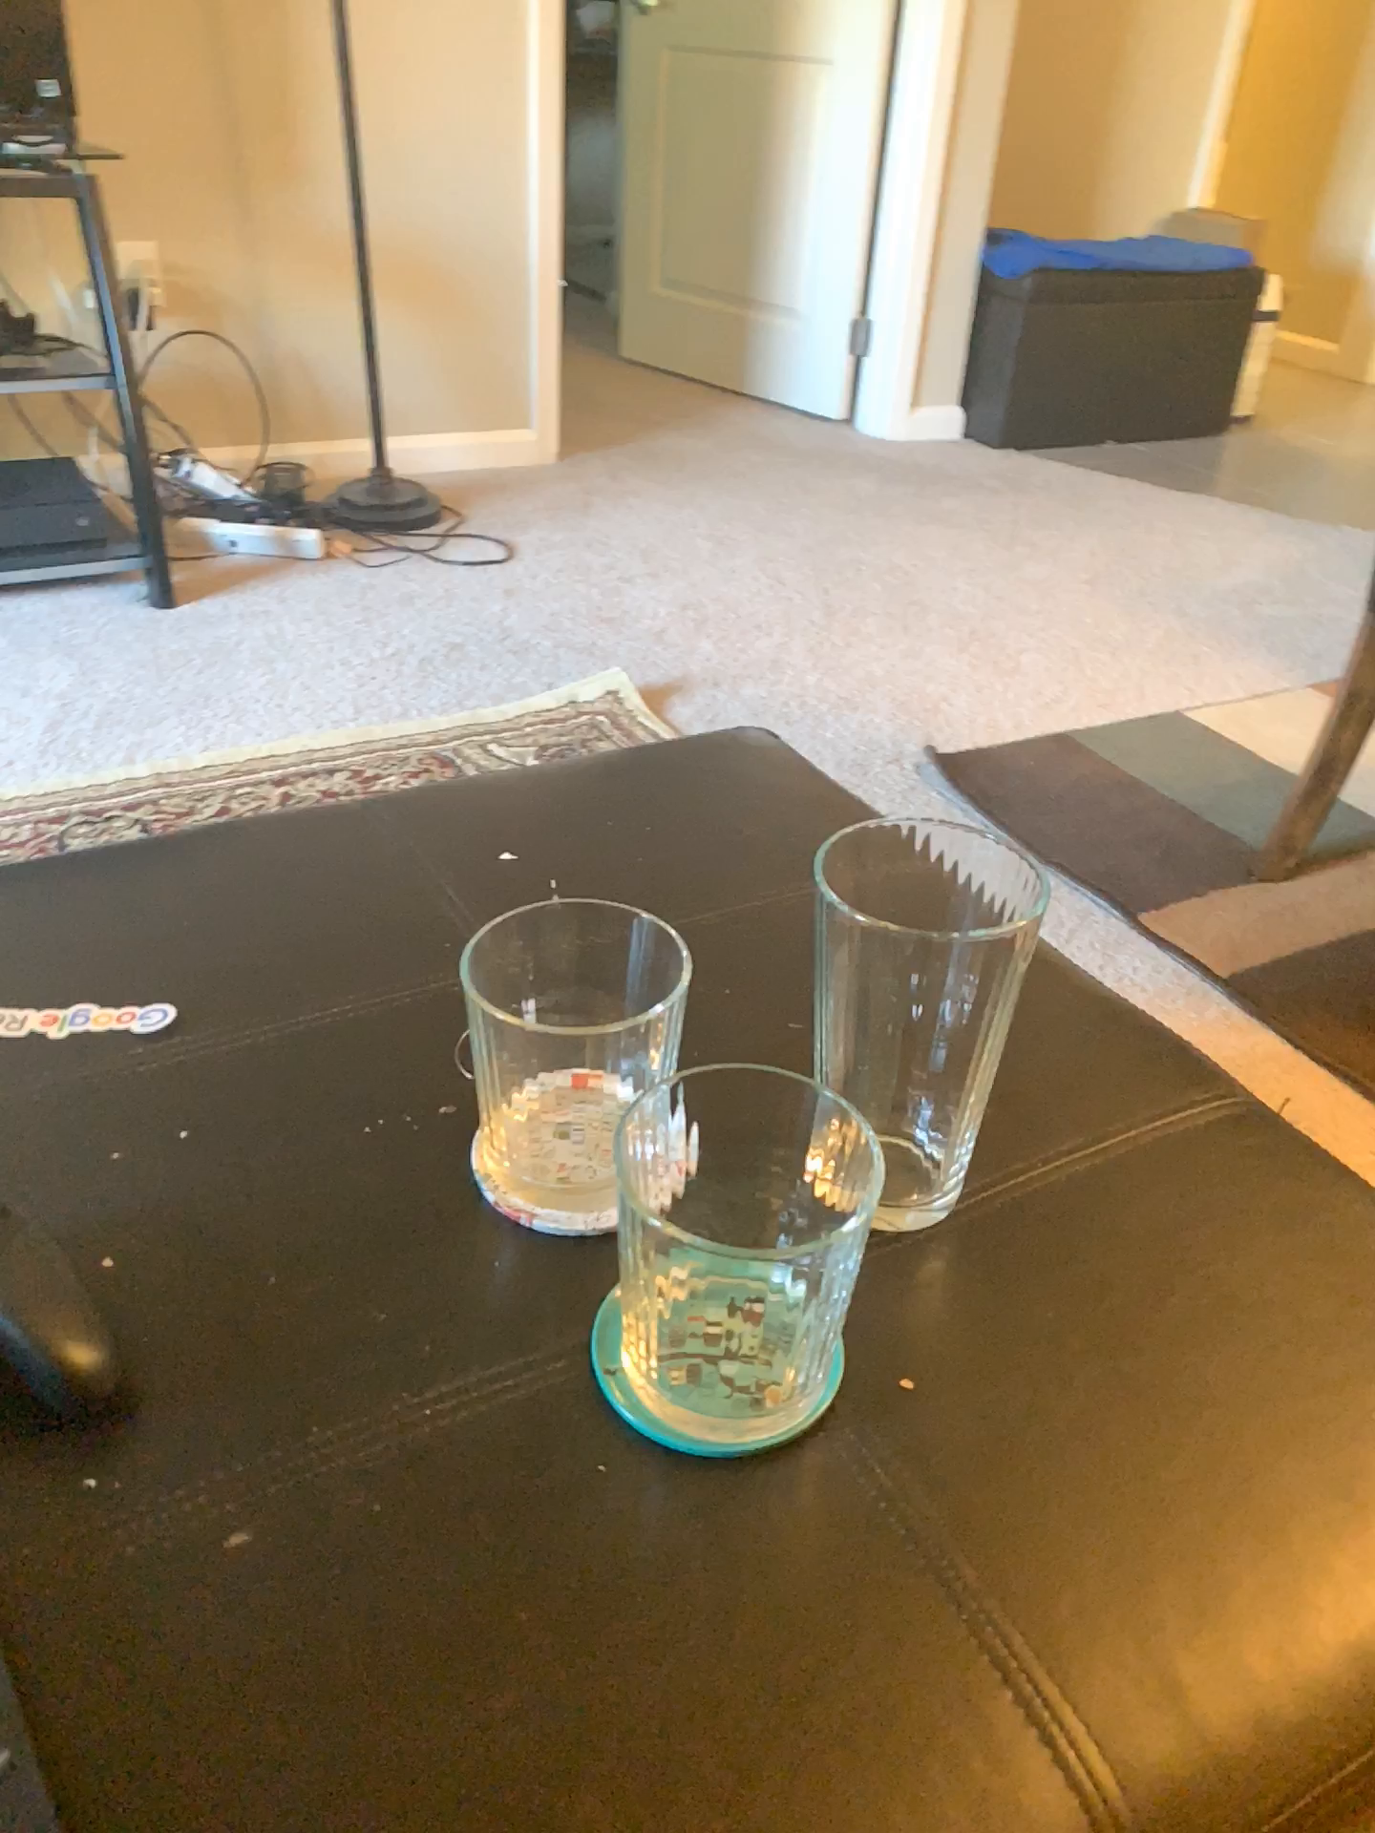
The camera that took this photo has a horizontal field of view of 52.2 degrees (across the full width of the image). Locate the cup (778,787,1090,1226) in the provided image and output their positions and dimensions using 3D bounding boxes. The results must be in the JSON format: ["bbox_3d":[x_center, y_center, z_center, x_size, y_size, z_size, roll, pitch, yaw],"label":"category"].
[{"bbox_3d":[0.086,0.035,0.536,0.080,0.139,0.091,1,33,-5],"label":"cup"}]

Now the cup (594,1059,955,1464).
[{"bbox_3d":[0.021,0.110,0.460,0.100,0.089,0.091,1,33,-5],"label":"cup"}]

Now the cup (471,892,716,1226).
[{"bbox_3d":[-0.040,0.058,0.579,0.090,0.109,0.081,1,33,-5],"label":"cup"}]
